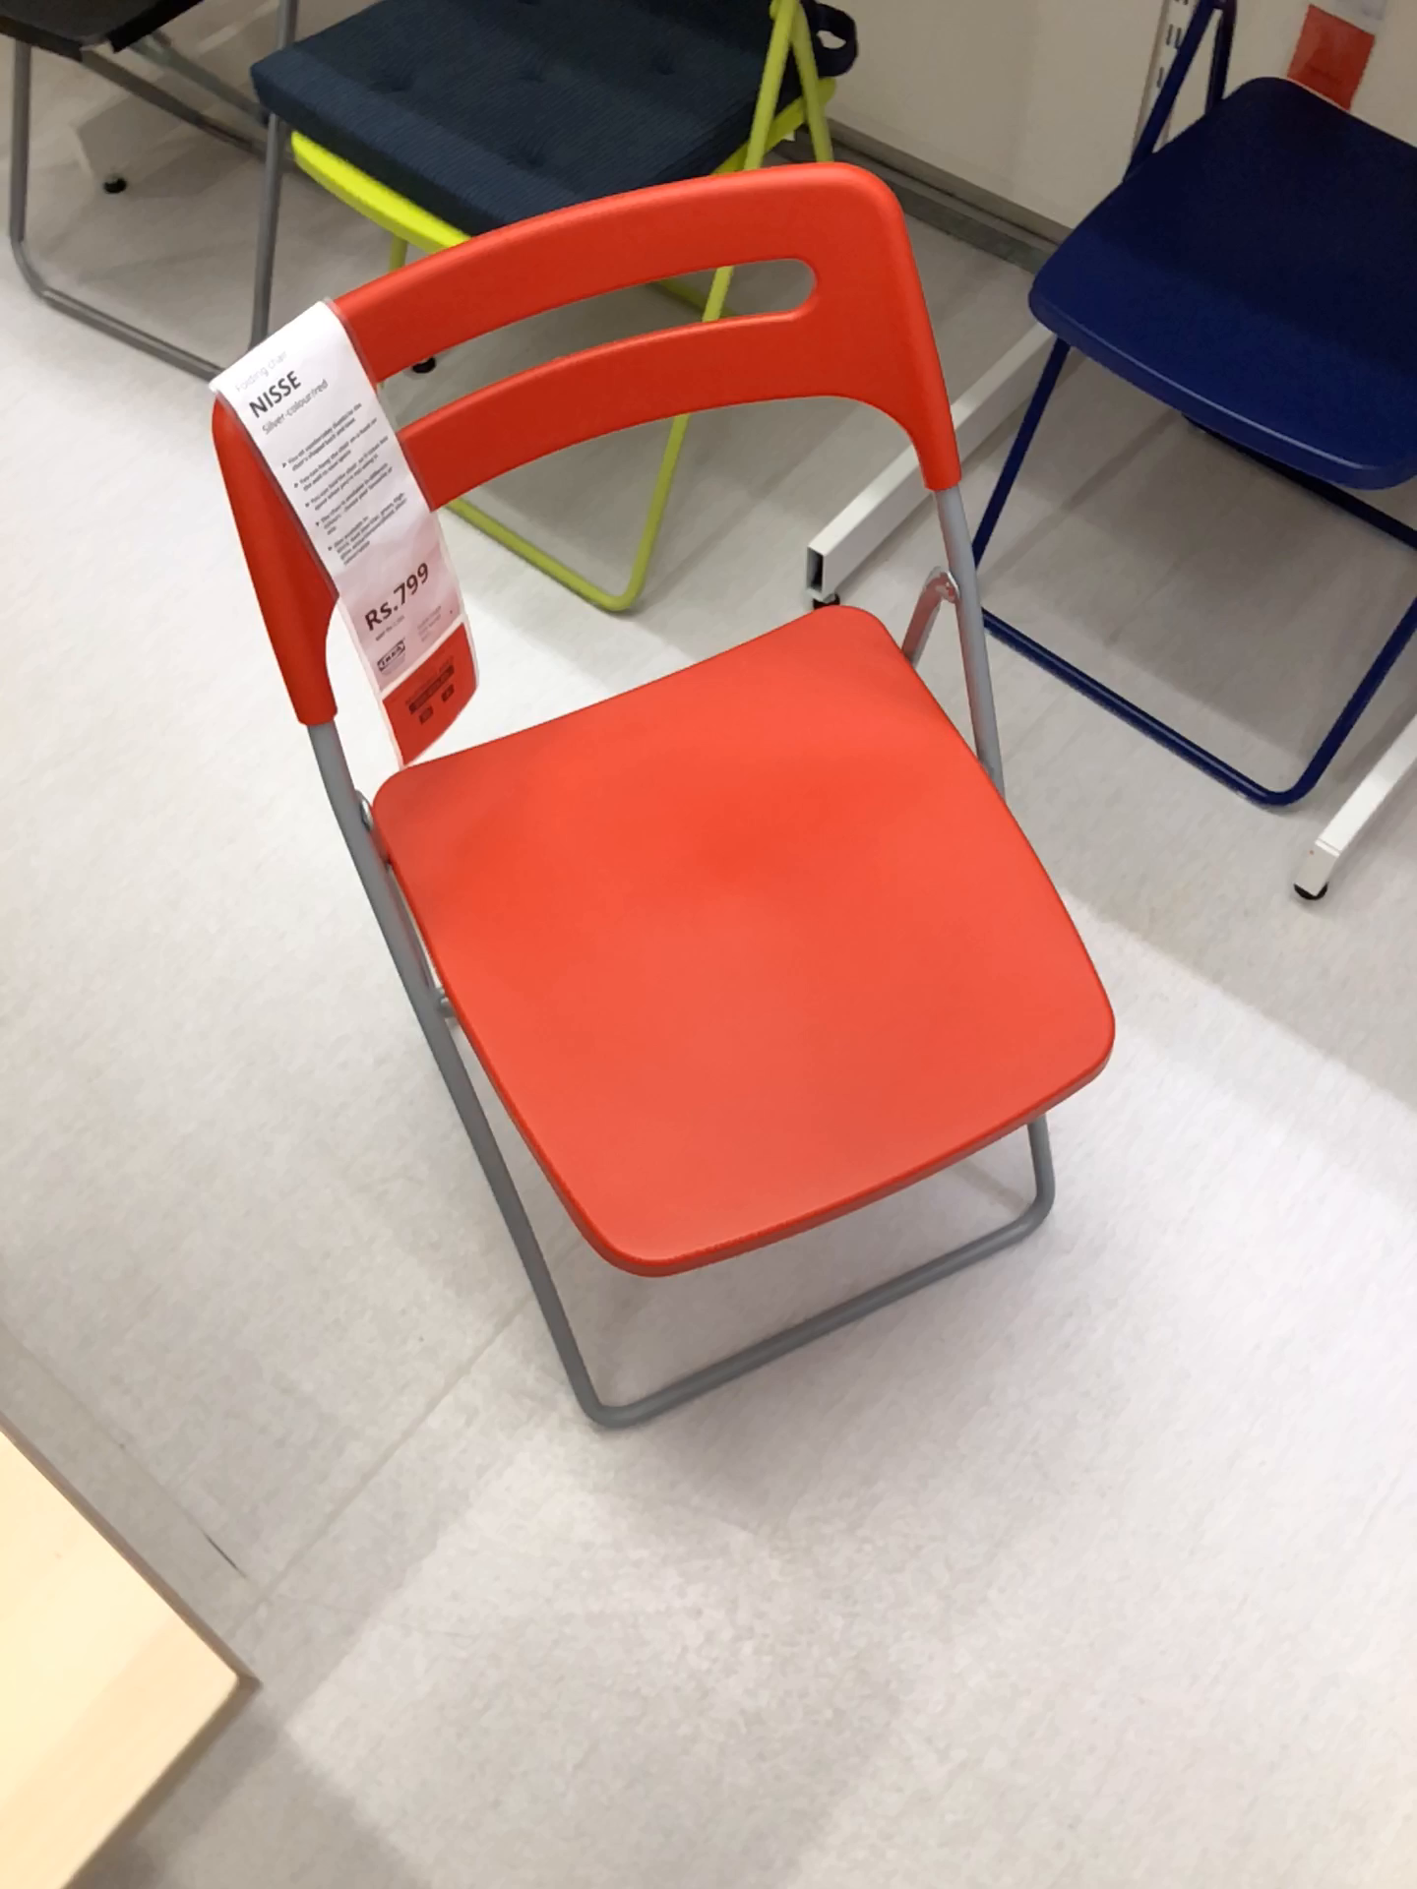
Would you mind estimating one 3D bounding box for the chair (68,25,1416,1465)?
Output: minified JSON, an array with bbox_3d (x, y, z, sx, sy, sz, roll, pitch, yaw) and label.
[{"bbox_3d":[0.009,-0.050,0.944,0.440,0.677,0.422,-23,62,-11],"label":"chair"}]
